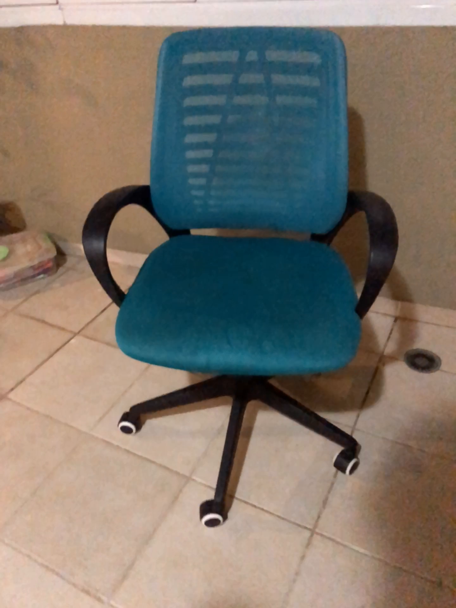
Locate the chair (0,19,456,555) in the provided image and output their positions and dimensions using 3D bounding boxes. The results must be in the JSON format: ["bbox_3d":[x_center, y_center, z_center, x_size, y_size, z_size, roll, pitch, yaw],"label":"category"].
[{"bbox_3d":[0.020,-0.068,1.161,0.710,0.923,0.746,2,36,9],"label":"chair"}]
